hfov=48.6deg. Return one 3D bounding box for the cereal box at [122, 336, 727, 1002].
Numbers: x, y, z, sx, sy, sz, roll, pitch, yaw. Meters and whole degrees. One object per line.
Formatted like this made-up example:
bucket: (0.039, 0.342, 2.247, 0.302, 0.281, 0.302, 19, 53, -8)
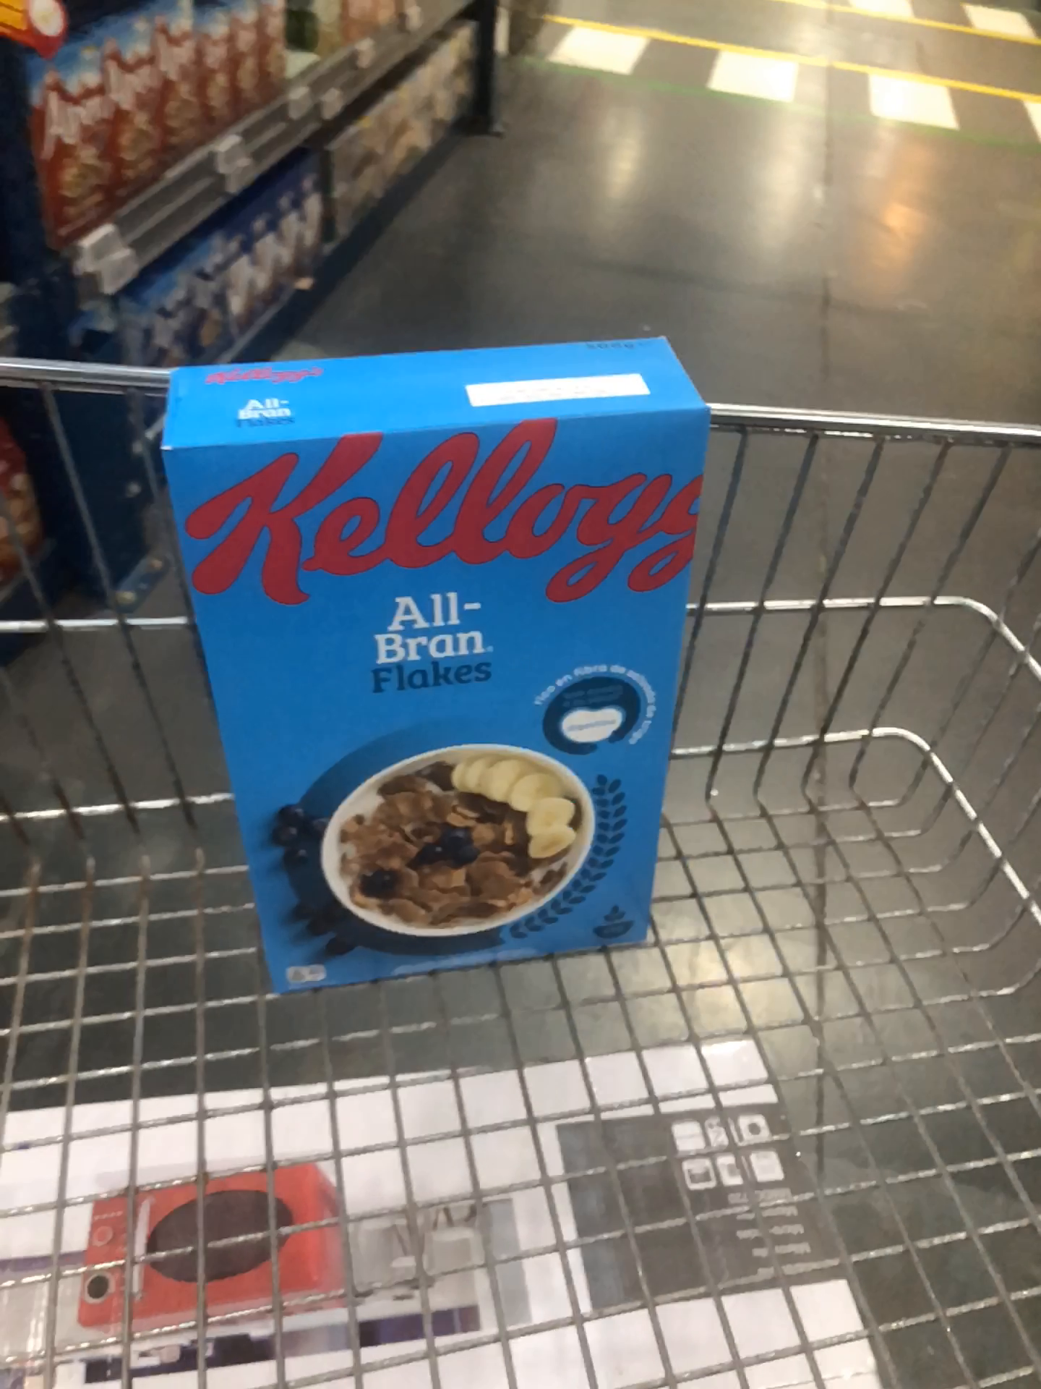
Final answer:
cereal box: (-0.040, -0.002, 0.491, 0.200, 0.269, 0.080, -6, 39, -11)
